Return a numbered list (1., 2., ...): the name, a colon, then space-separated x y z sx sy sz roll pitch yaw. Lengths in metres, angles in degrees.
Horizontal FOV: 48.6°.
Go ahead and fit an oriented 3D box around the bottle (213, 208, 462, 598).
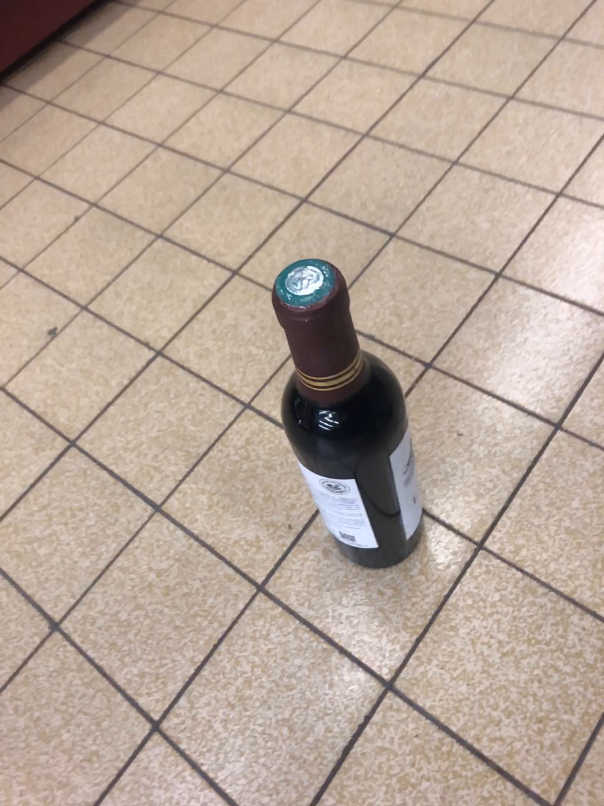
1. bottle: 0.032 0.019 0.335 0.060 0.219 0.070 -36 56 -10
